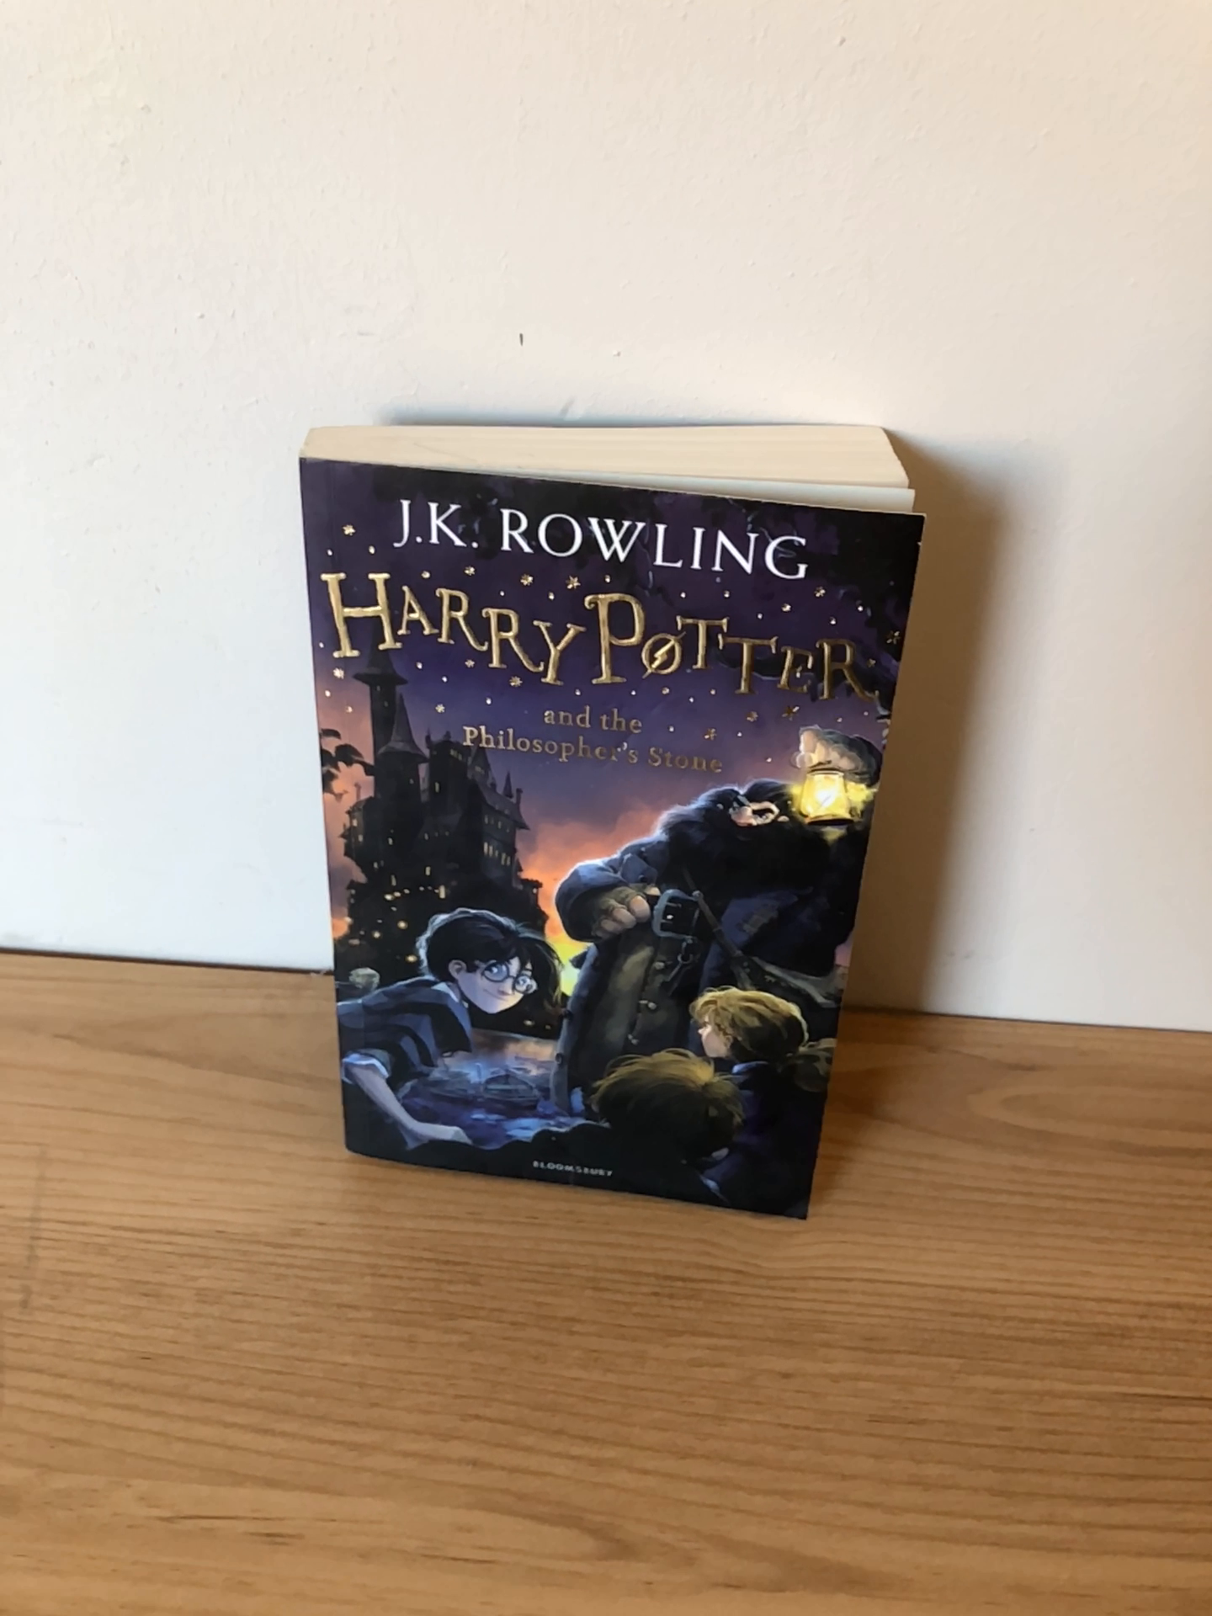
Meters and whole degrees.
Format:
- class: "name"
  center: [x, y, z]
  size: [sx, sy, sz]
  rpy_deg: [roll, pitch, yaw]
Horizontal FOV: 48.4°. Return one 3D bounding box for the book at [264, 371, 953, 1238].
- class: "book"
  center: [-0.003, 0.003, 0.337]
  size: [0.135, 0.192, 0.068]
  rpy_deg: [7, 29, 5]
